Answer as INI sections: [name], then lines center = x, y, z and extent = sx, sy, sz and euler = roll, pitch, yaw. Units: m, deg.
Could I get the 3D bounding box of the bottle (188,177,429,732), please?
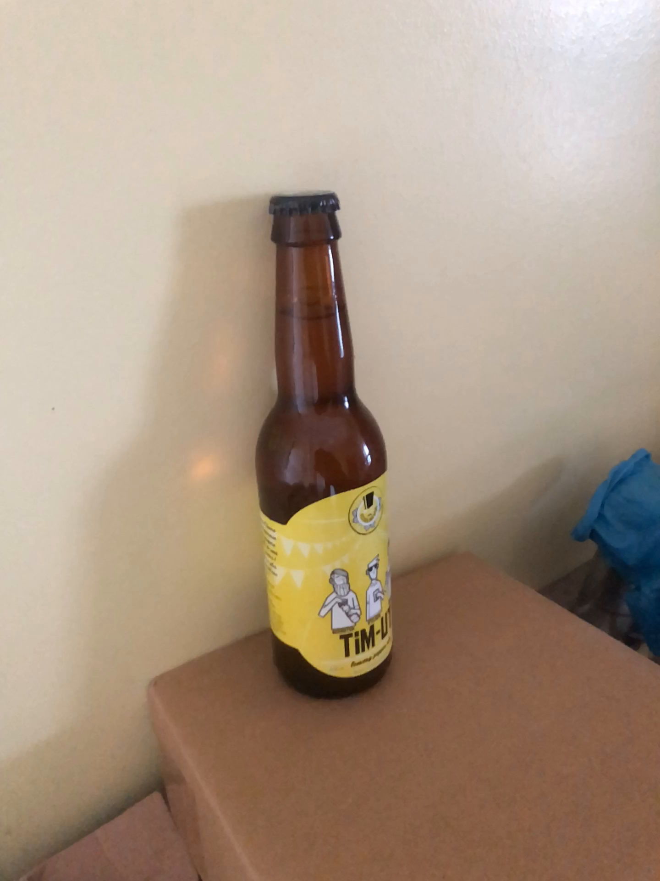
[bottle]
center = -0.004, 0.008, 0.323
extent = 0.060, 0.229, 0.060
euler = -5, 22, 2
